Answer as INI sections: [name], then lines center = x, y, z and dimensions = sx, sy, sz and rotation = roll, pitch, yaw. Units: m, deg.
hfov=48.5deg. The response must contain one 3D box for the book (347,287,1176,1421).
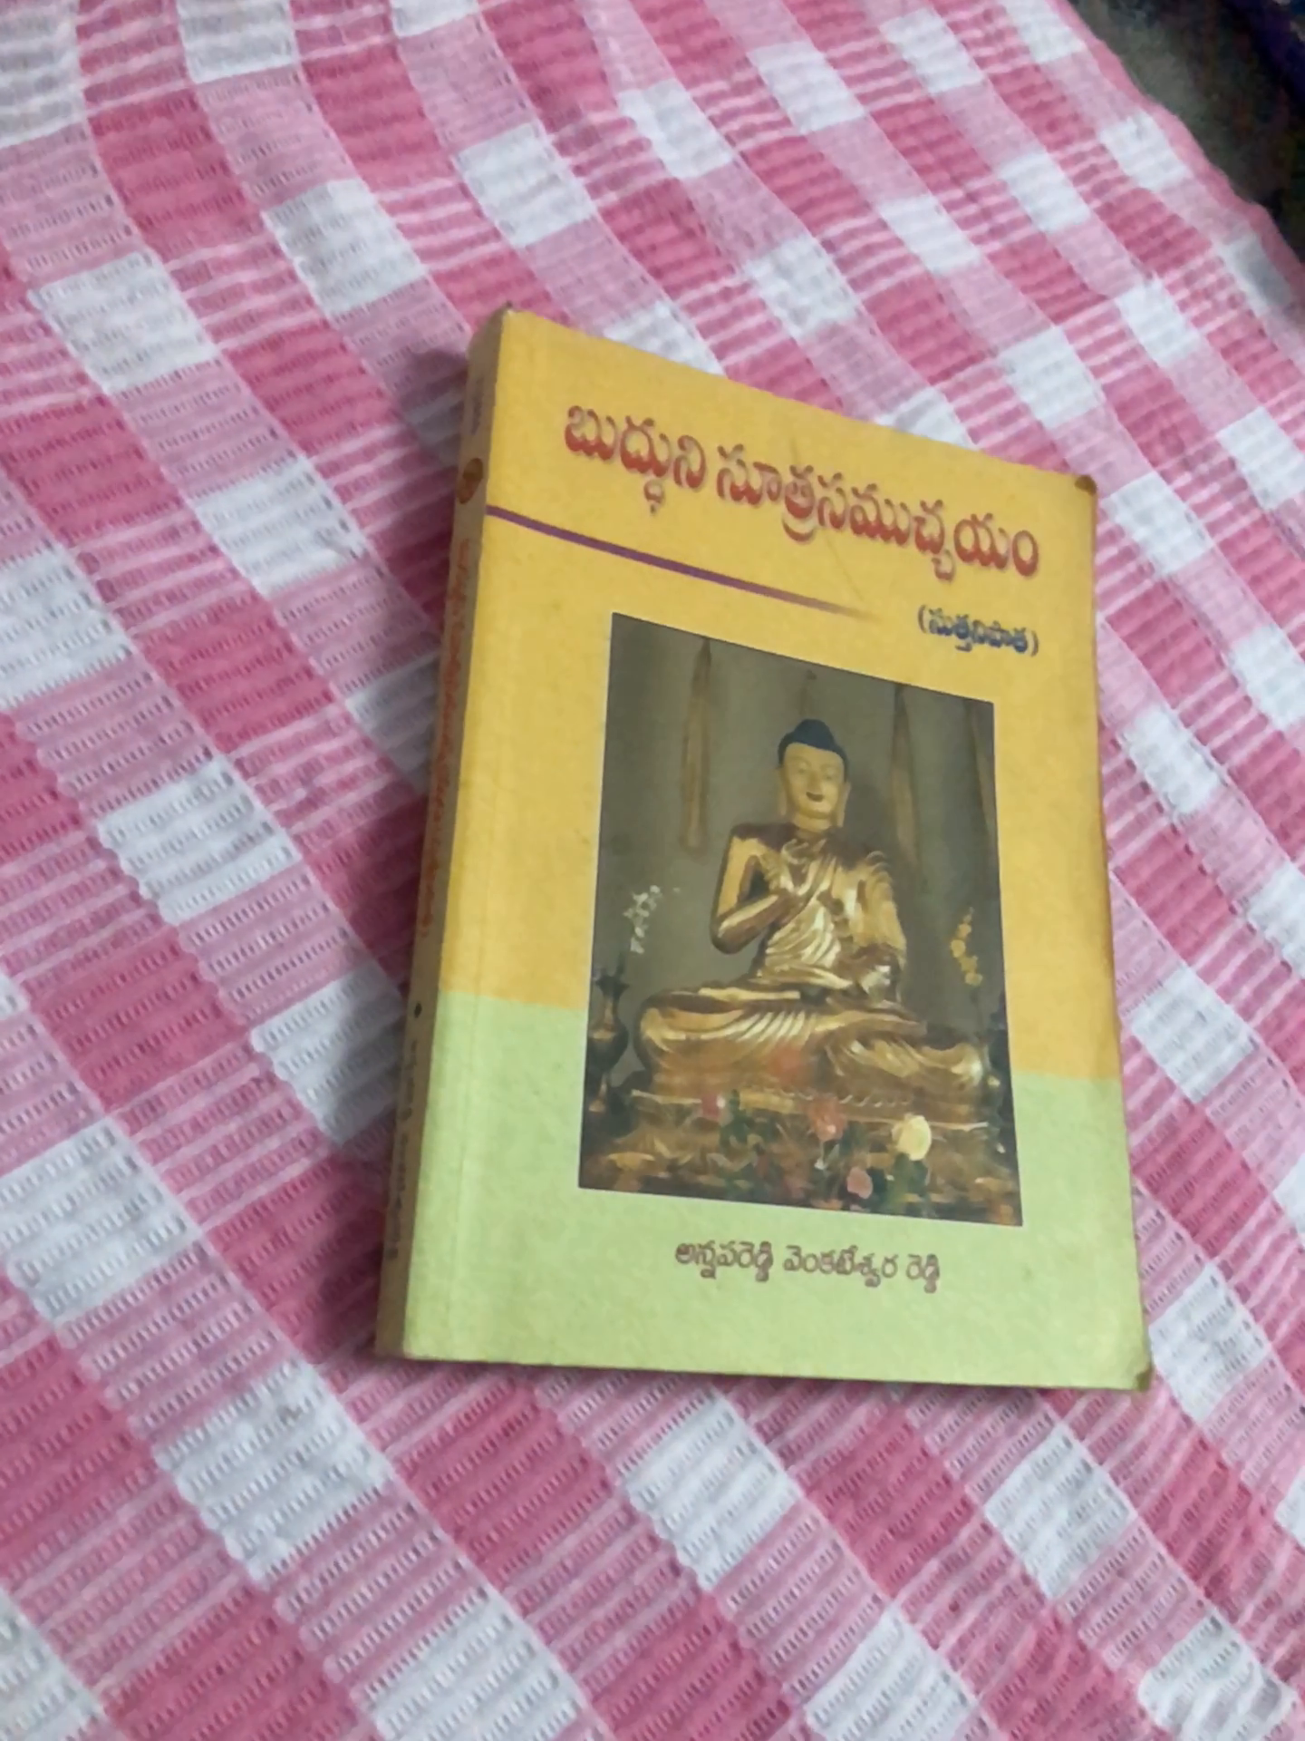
[book]
center = 0.026, -0.002, 0.295
dimensions = 0.151, 0.030, 0.210
rotation = 10, 68, -22
